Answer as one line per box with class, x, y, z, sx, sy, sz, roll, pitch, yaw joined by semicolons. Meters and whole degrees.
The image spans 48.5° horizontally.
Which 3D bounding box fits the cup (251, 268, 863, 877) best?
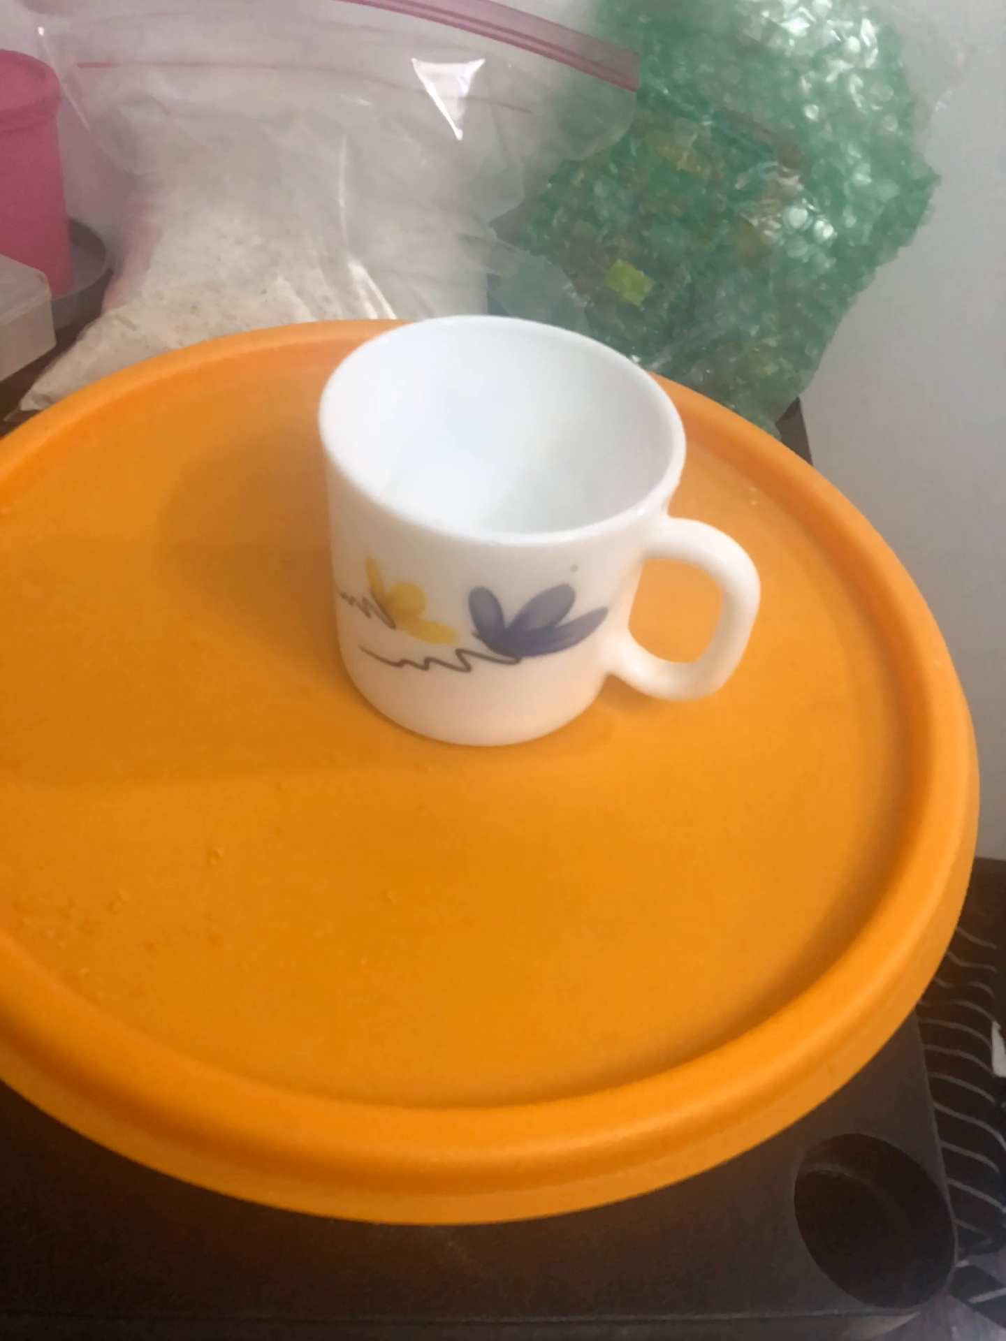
cup;0.011;-0.024;0.246;0.100;0.070;0.080;22;49;9
